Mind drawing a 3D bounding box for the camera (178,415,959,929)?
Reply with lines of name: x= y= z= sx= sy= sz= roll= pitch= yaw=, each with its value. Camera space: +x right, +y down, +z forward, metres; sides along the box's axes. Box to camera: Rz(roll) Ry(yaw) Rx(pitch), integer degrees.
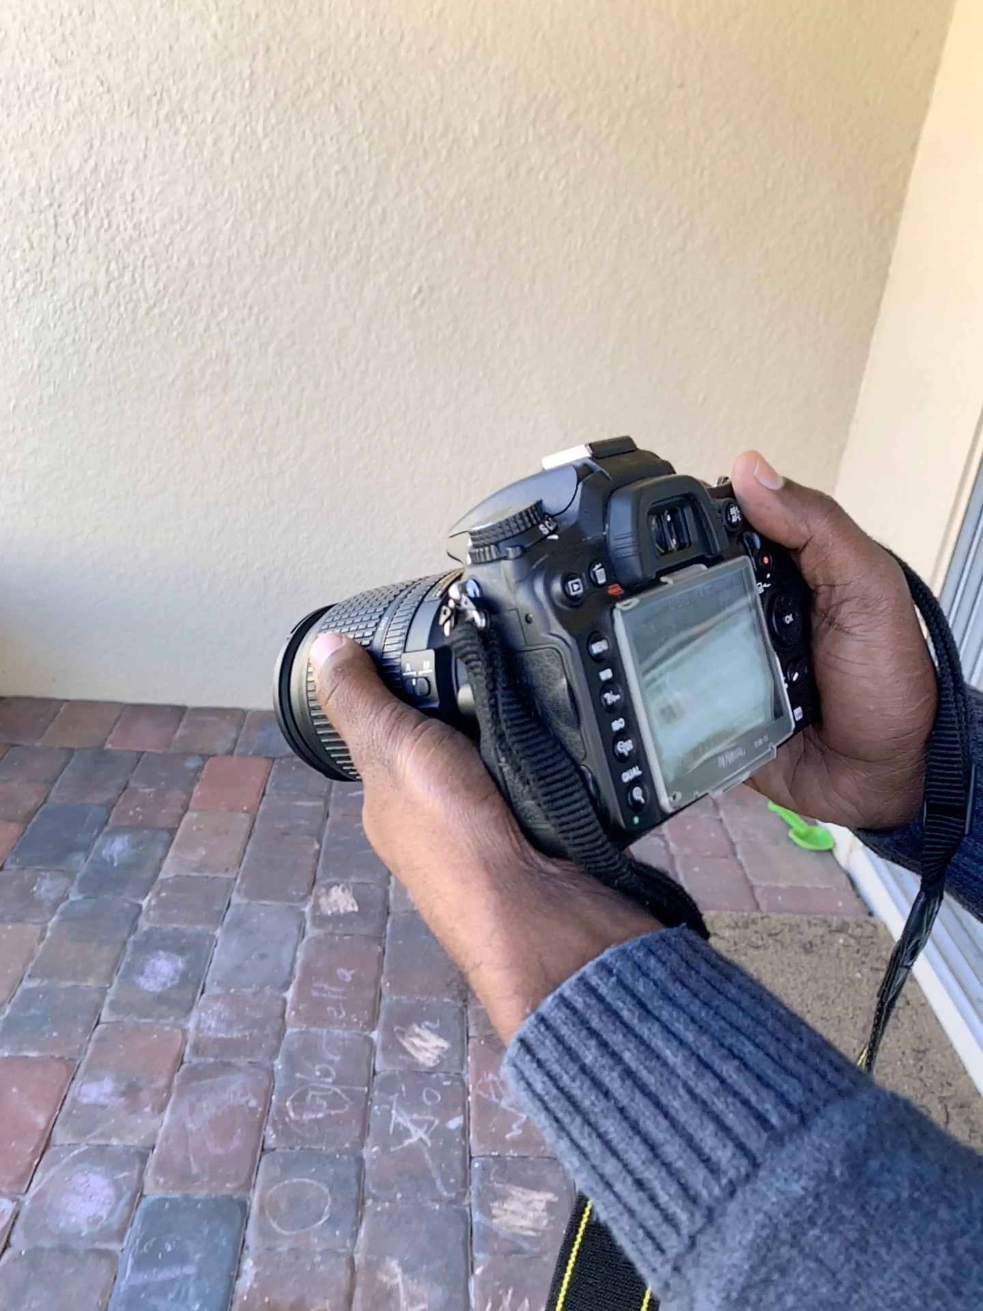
camera: x=0.016 y=0.003 z=0.330 sx=0.131 sy=0.100 sz=0.199 roll=-19 pitch=8 yaw=-43
